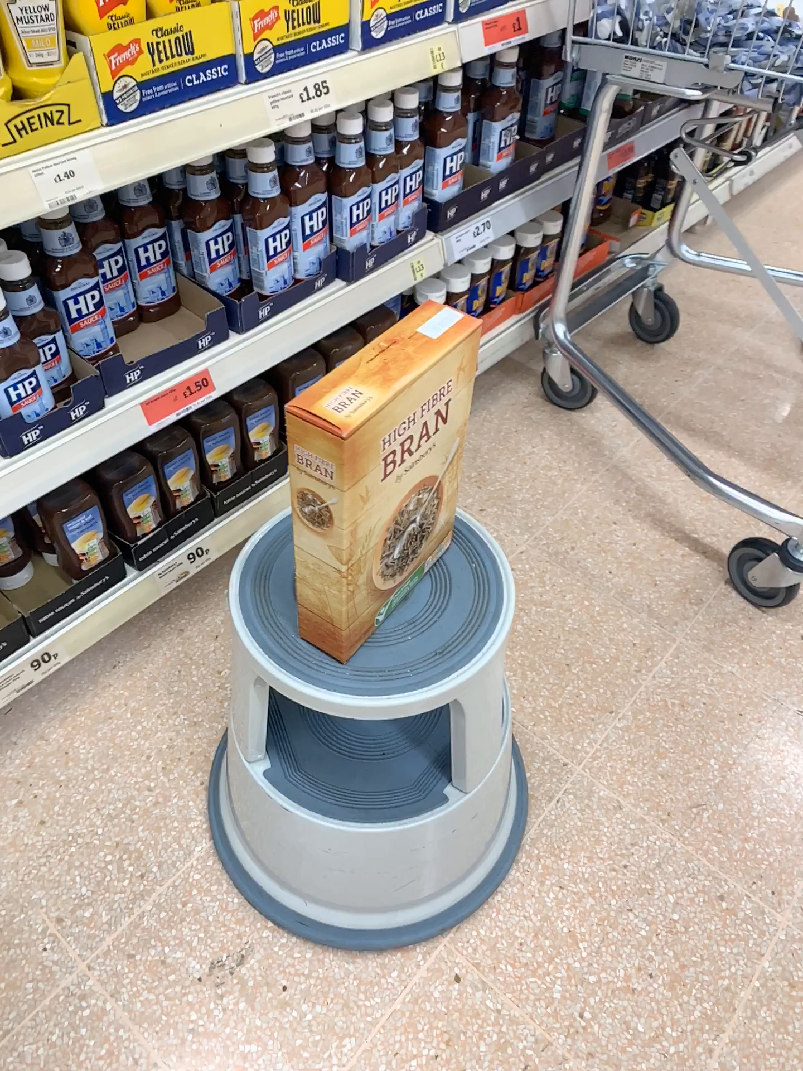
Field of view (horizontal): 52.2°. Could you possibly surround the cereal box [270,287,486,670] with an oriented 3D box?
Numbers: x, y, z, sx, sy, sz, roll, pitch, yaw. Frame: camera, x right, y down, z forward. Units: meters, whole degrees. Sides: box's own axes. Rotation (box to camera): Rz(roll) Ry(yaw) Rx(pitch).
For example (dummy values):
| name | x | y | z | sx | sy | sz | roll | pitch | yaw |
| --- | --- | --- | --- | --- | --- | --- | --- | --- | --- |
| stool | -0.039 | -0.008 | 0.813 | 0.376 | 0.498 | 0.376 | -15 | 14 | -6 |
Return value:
| name | x | y | z | sx | sy | sz | roll | pitch | yaw |
| --- | --- | --- | --- | --- | --- | --- | --- | --- | --- |
| cereal box | -0.017 | -0.044 | 0.726 | 0.060 | 0.277 | 0.201 | 27 | 50 | 22 |
